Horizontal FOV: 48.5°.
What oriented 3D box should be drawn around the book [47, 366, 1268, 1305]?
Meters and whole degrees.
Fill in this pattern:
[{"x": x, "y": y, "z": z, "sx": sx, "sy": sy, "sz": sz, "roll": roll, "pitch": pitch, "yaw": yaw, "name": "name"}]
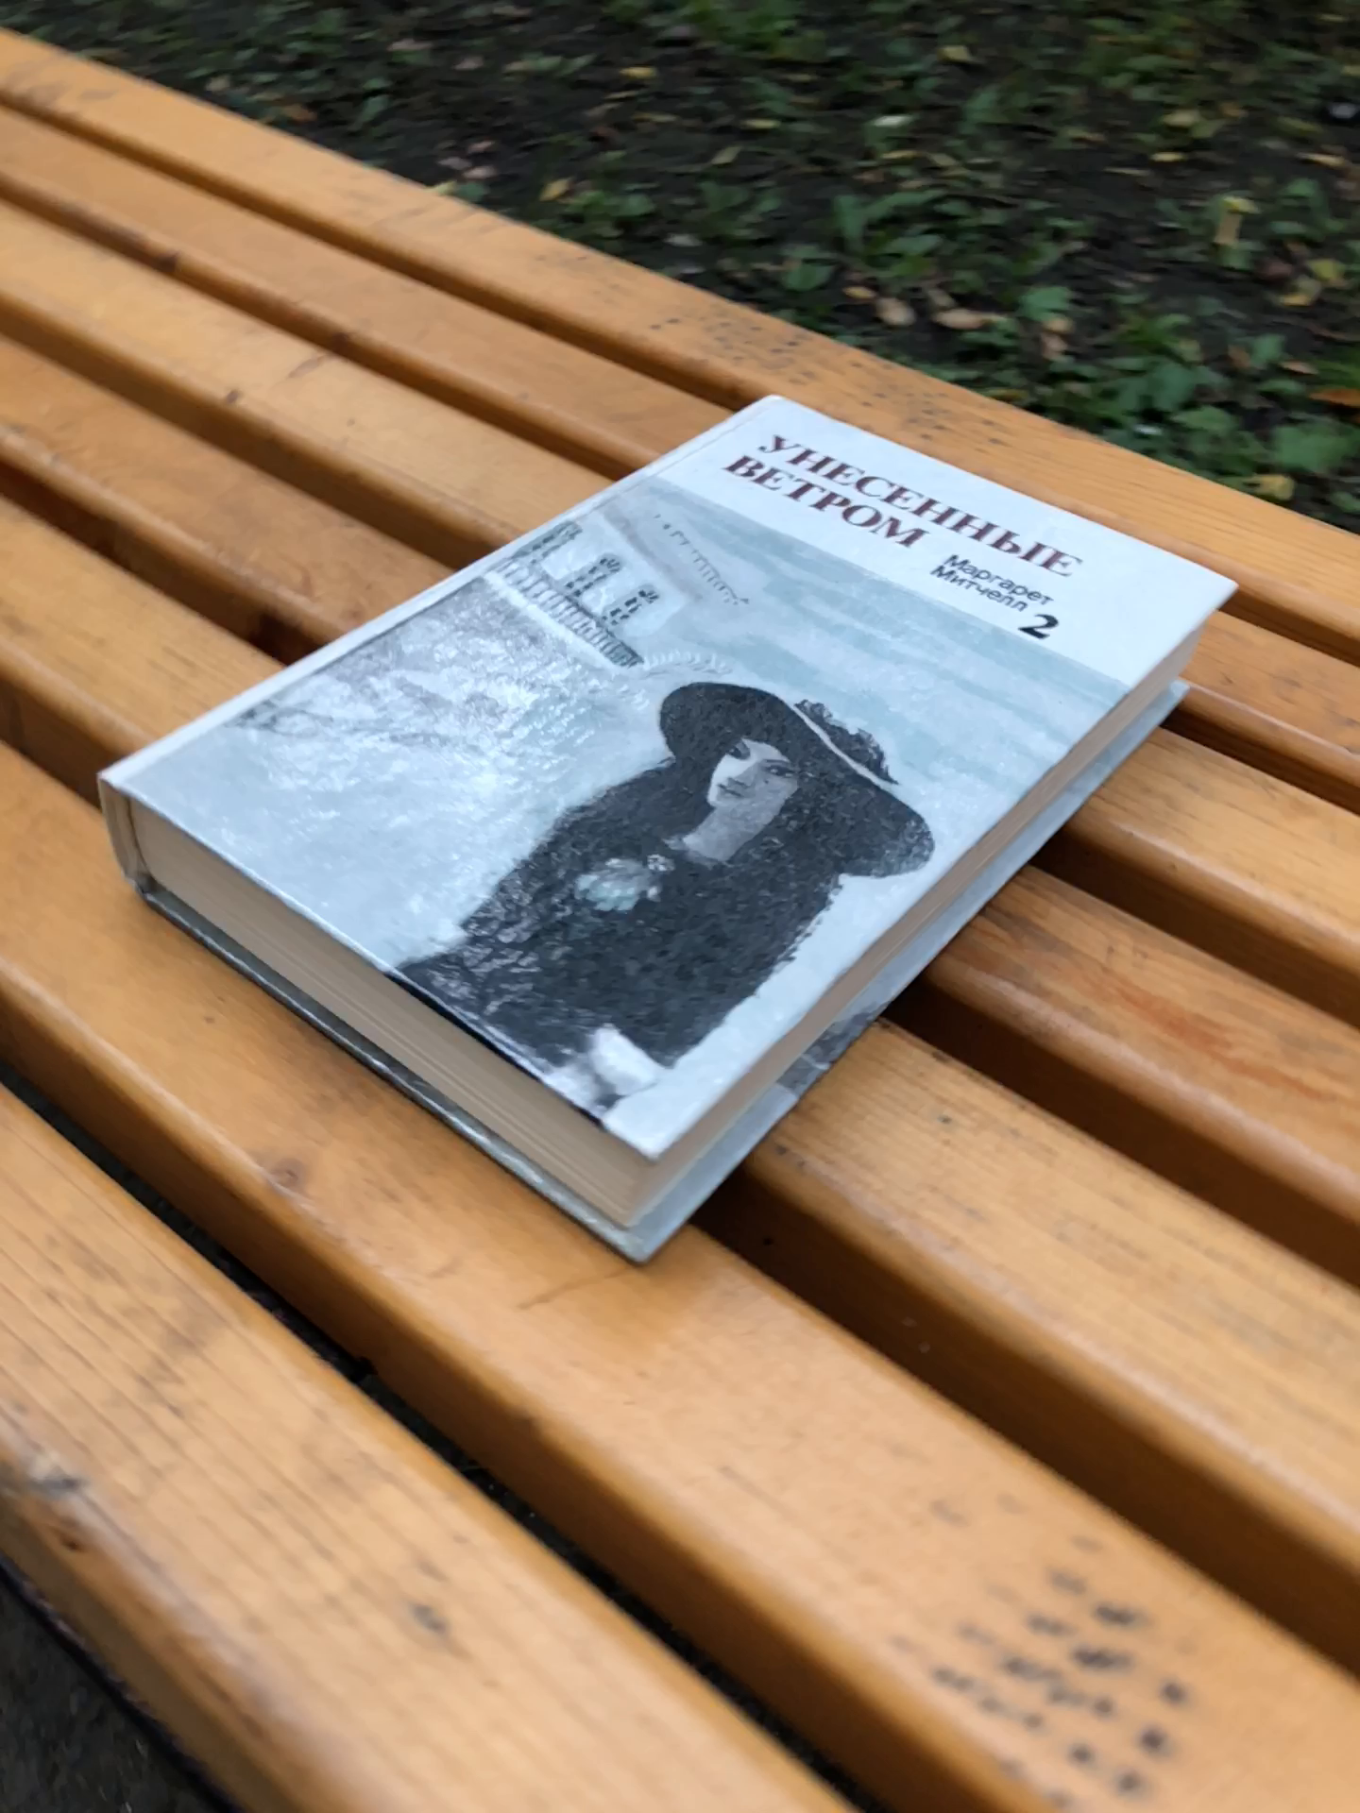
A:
[{"x": 0.007, "y": -0.039, "z": 0.310, "sx": 0.140, "sy": 0.030, "sz": 0.211, "roll": 31, "pitch": 52, "yaw": 25, "name": "book"}]
